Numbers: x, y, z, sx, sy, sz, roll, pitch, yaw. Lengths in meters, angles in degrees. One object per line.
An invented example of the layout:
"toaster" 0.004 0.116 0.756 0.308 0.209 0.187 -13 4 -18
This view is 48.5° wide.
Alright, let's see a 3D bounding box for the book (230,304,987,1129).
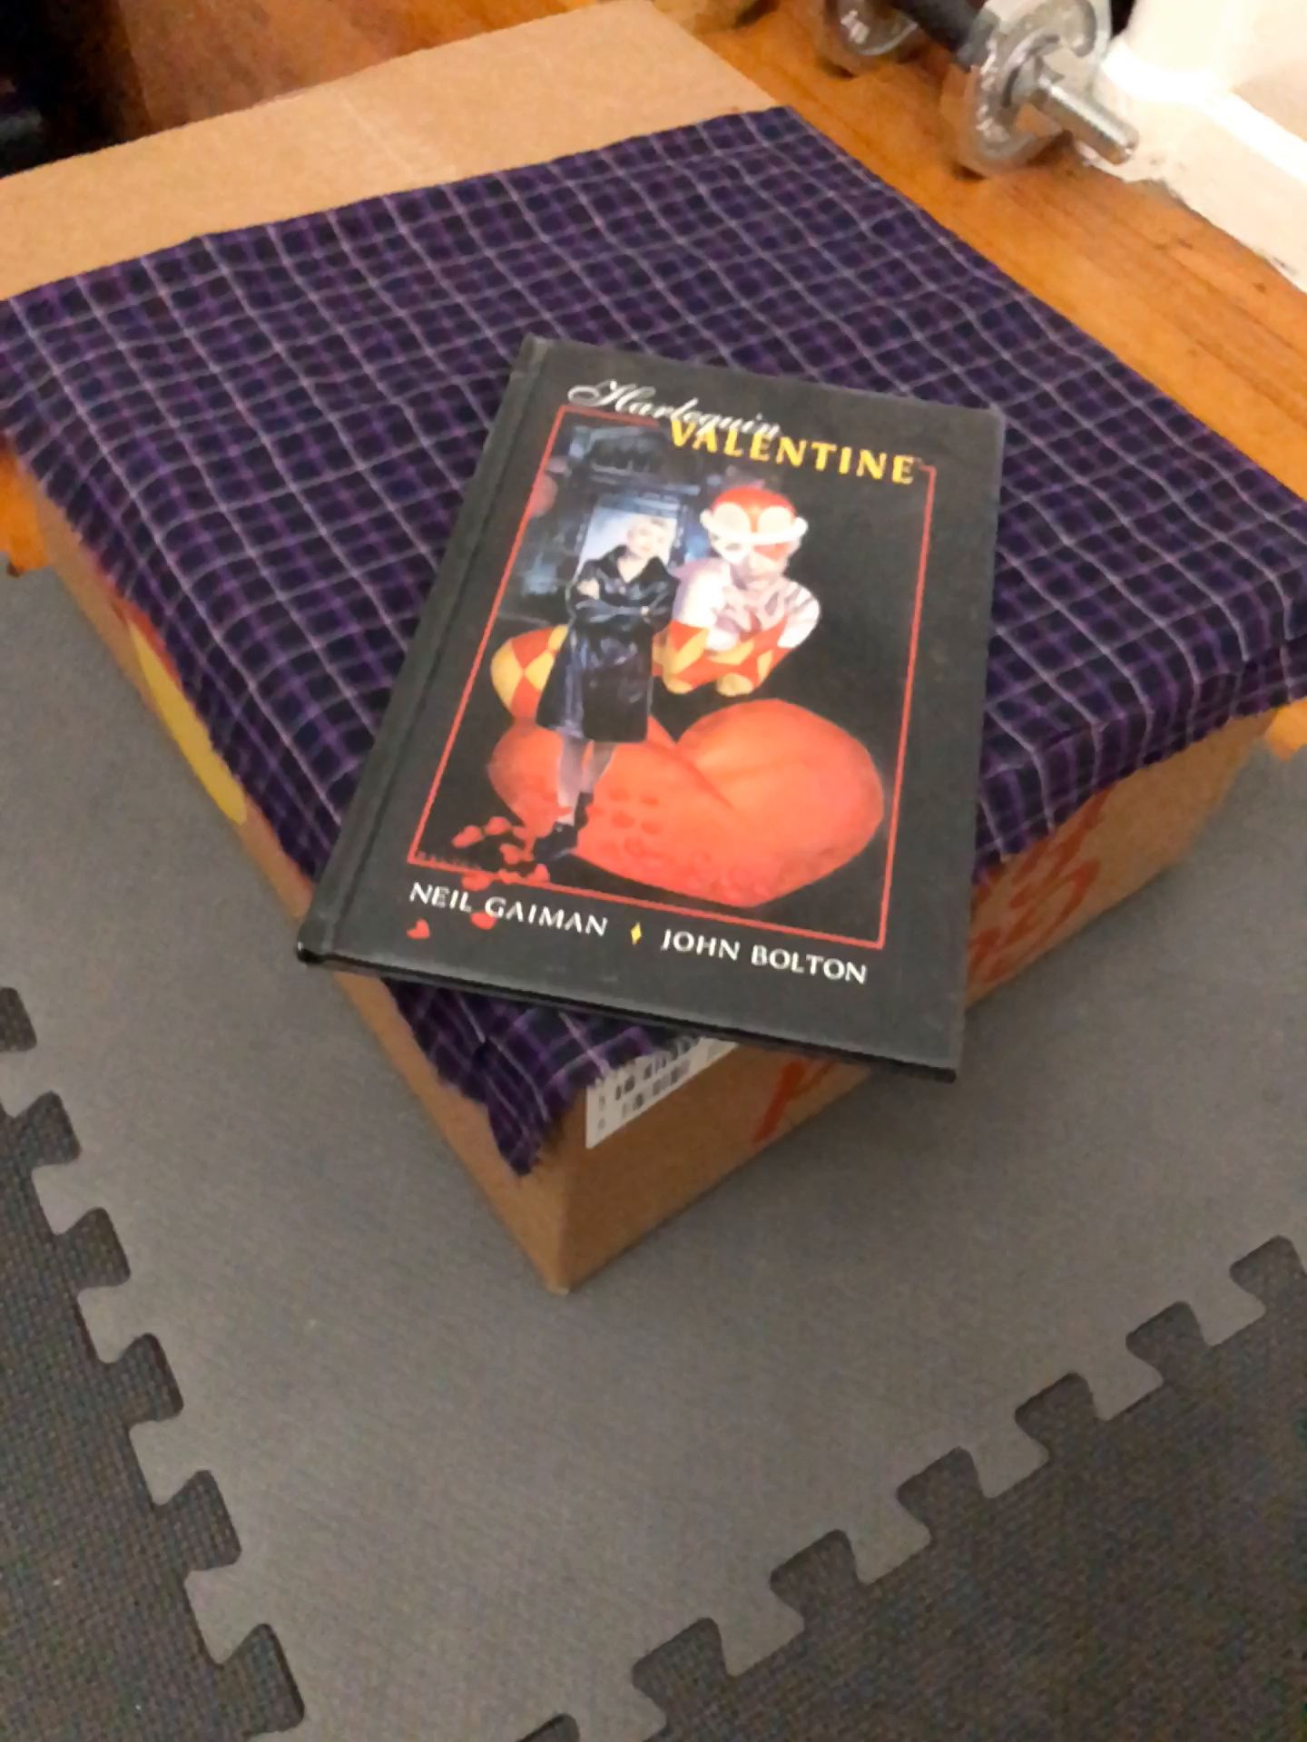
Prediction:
"book" 0.006 -0.069 0.444 0.180 0.020 0.281 10 55 2
